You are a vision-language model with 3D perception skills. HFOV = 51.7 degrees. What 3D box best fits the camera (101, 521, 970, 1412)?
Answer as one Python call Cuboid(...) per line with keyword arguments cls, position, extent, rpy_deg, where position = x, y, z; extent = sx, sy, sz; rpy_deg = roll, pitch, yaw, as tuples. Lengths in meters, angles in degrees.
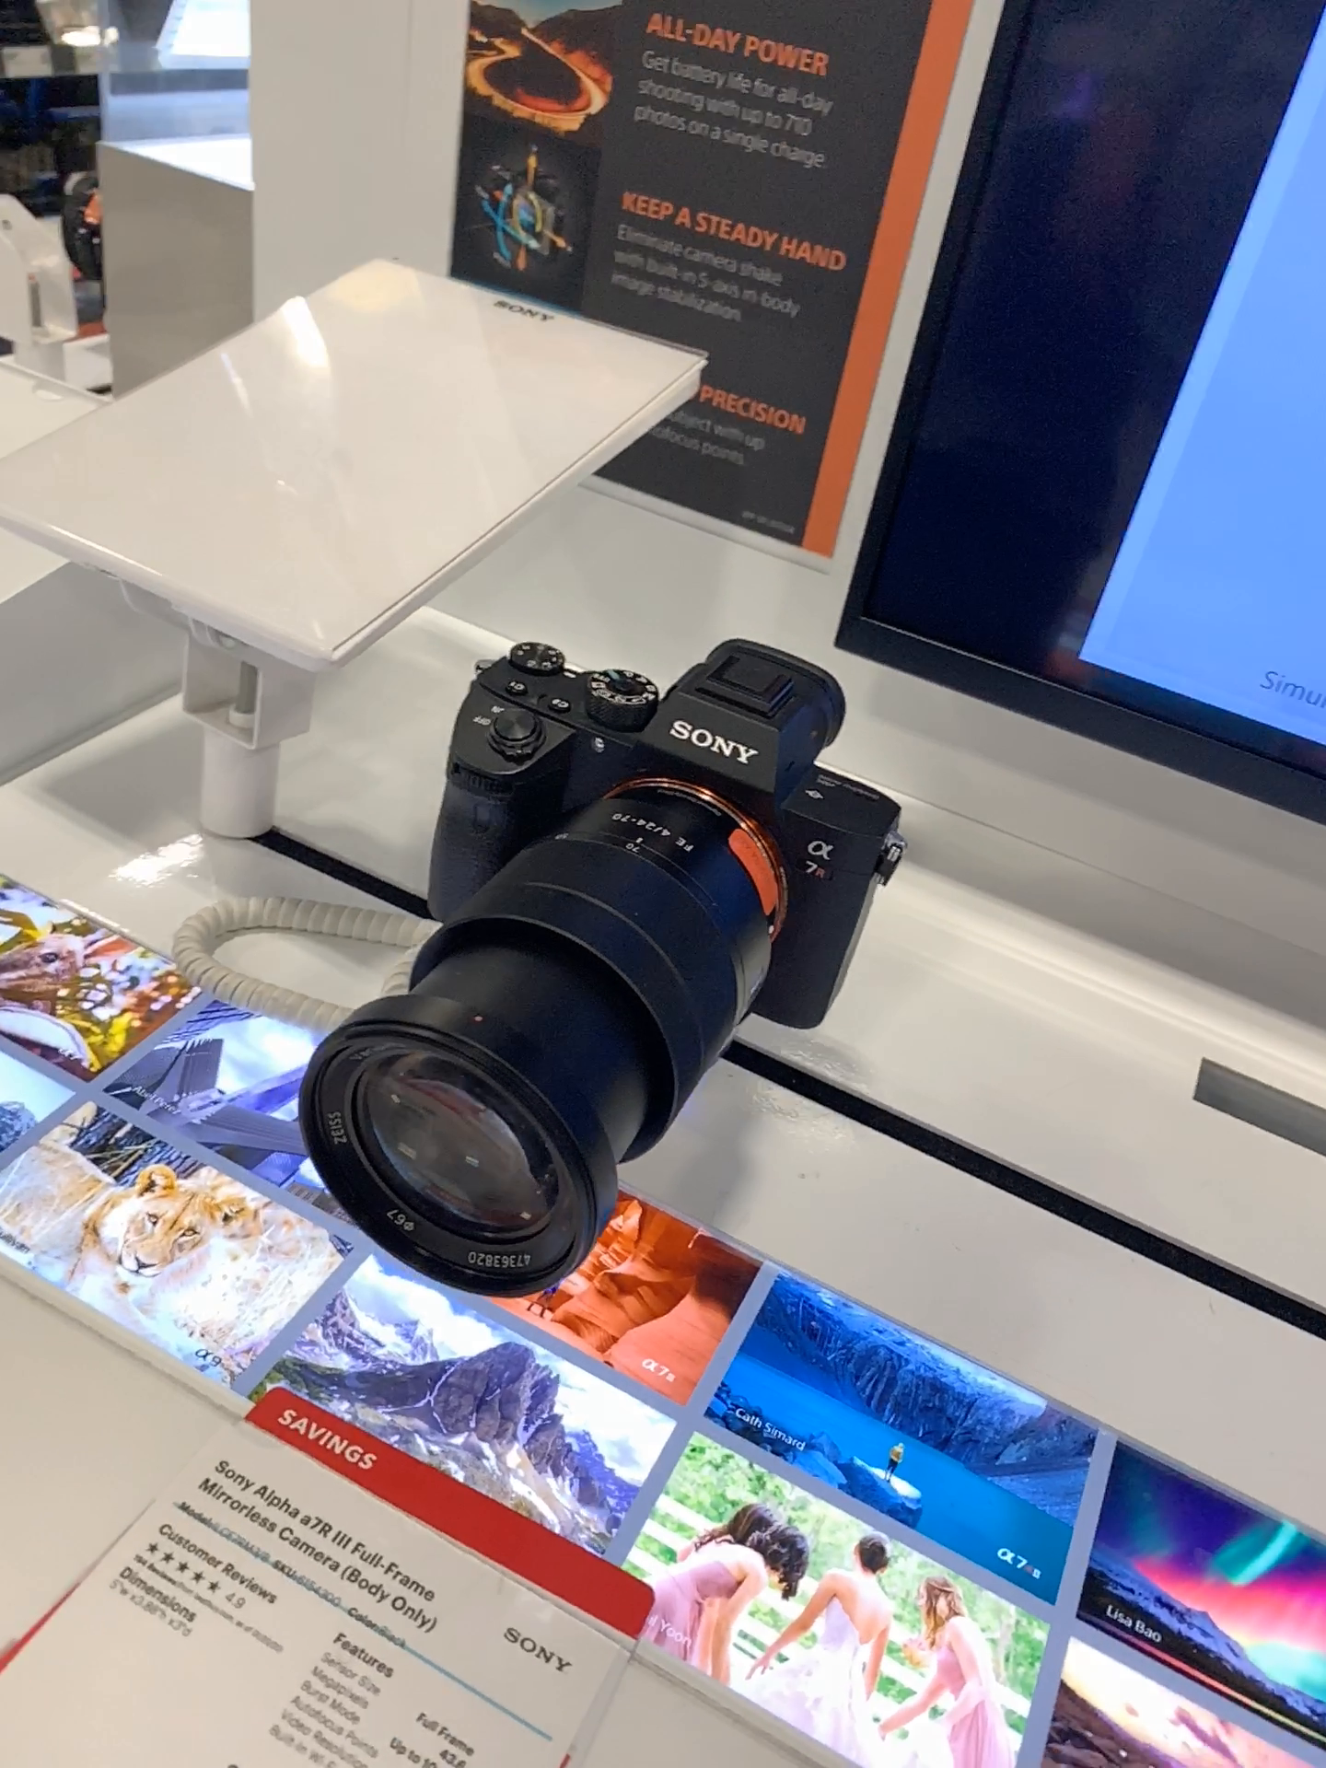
Cuboid(cls="camera", position=(-0.018, 0.001, 0.350), extent=(0.130, 0.099, 0.194), rpy_deg=(21, 37, 13))
